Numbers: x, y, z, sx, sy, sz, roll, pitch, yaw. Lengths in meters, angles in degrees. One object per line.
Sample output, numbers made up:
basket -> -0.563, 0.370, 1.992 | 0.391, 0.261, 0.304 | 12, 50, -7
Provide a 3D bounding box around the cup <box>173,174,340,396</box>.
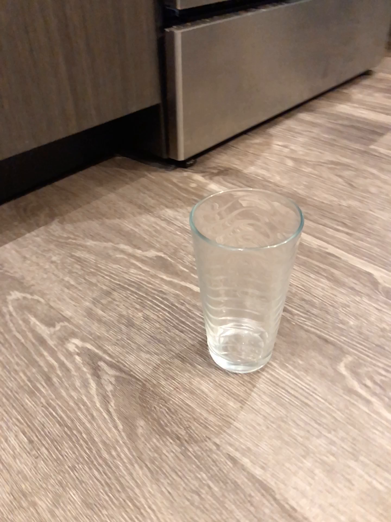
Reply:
cup -> 0.048, 0.019, 0.370 | 0.090, 0.139, 0.090 | -1, 38, 1
